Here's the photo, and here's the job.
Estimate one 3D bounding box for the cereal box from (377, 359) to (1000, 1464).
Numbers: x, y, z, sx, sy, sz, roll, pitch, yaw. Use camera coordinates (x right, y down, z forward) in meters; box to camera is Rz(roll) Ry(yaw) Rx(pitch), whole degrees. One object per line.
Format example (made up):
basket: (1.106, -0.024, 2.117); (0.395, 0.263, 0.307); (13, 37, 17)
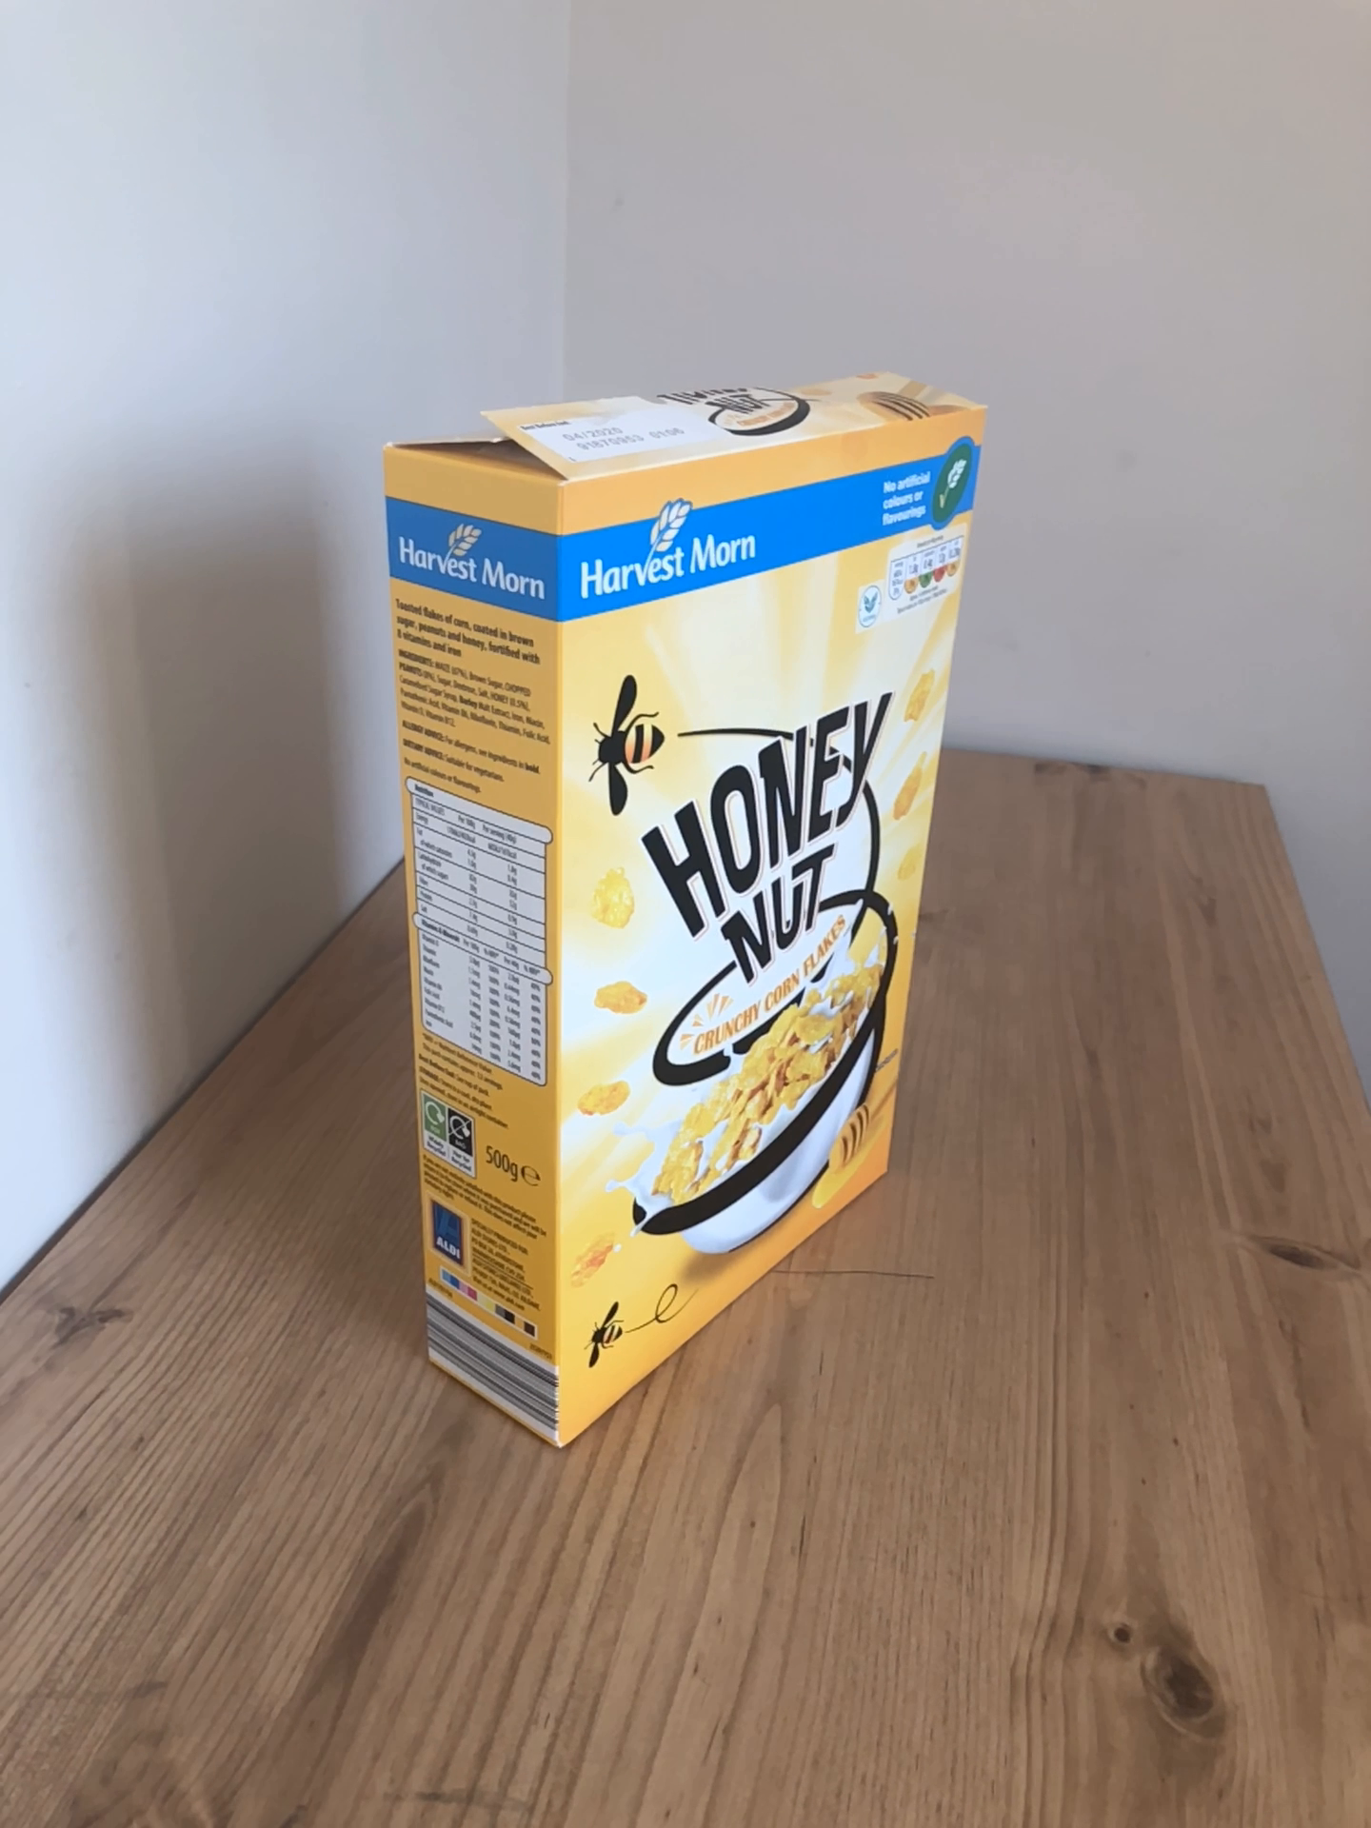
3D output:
cereal box: (0.005, -0.009, 0.483); (0.060, 0.298, 0.201); (22, 32, 33)
